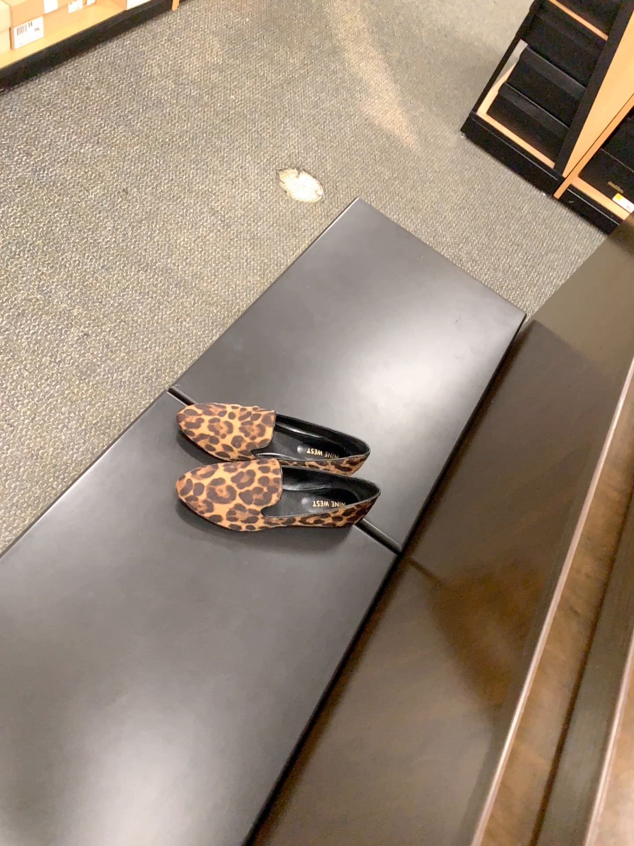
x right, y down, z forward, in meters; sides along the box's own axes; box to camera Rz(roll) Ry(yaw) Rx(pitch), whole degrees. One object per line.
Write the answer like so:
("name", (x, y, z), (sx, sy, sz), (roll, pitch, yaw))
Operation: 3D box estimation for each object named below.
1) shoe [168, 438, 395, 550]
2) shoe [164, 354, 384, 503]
("shoe", (-0.044, 0.089, 0.770), (0.247, 0.090, 0.090), (6, 59, -18))
("shoe", (-0.051, 0.011, 0.802), (0.247, 0.090, 0.090), (16, 56, -12))
